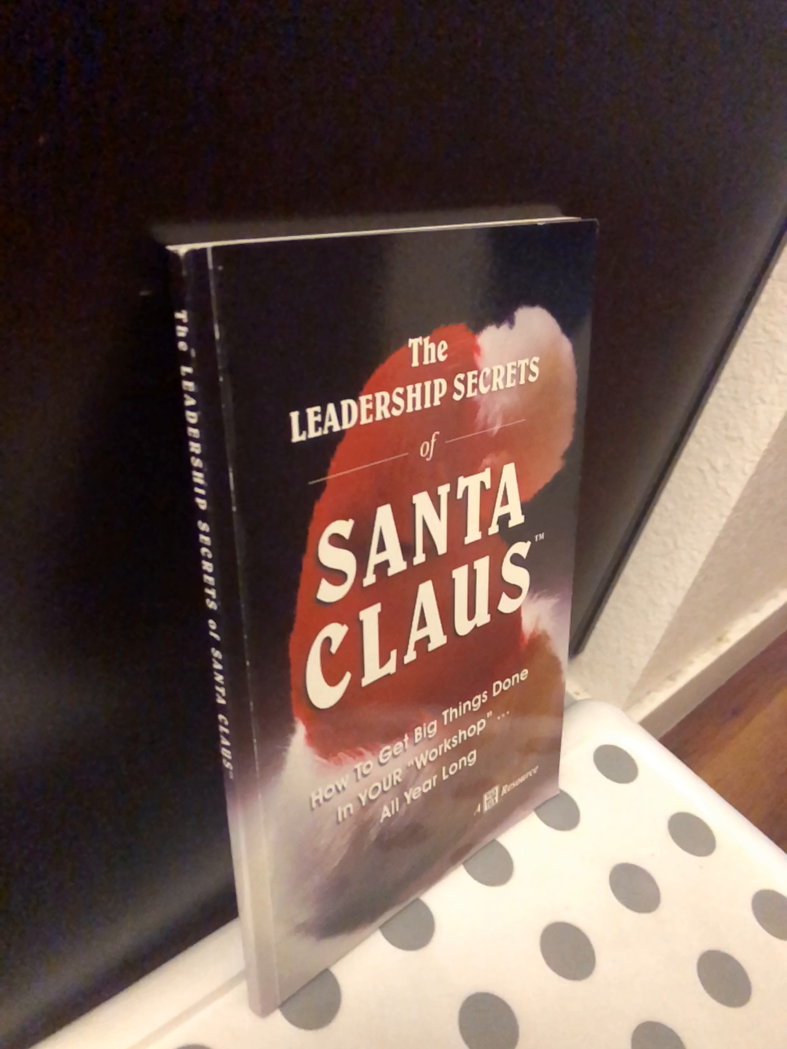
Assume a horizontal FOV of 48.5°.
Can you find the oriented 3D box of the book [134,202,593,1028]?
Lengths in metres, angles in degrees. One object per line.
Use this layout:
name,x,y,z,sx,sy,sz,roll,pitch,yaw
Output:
book,0.008,0.021,0.275,0.010,0.225,0.161,18,28,42
